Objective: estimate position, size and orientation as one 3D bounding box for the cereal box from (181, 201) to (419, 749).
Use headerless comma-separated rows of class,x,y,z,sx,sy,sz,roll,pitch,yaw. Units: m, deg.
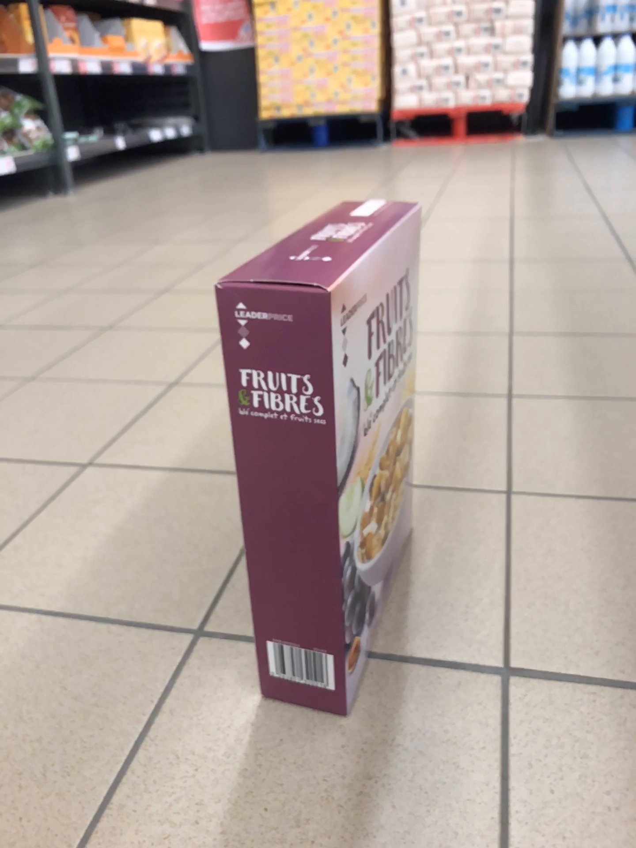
cereal box,0.011,0.014,0.435,0.060,0.259,0.211,5,26,18
